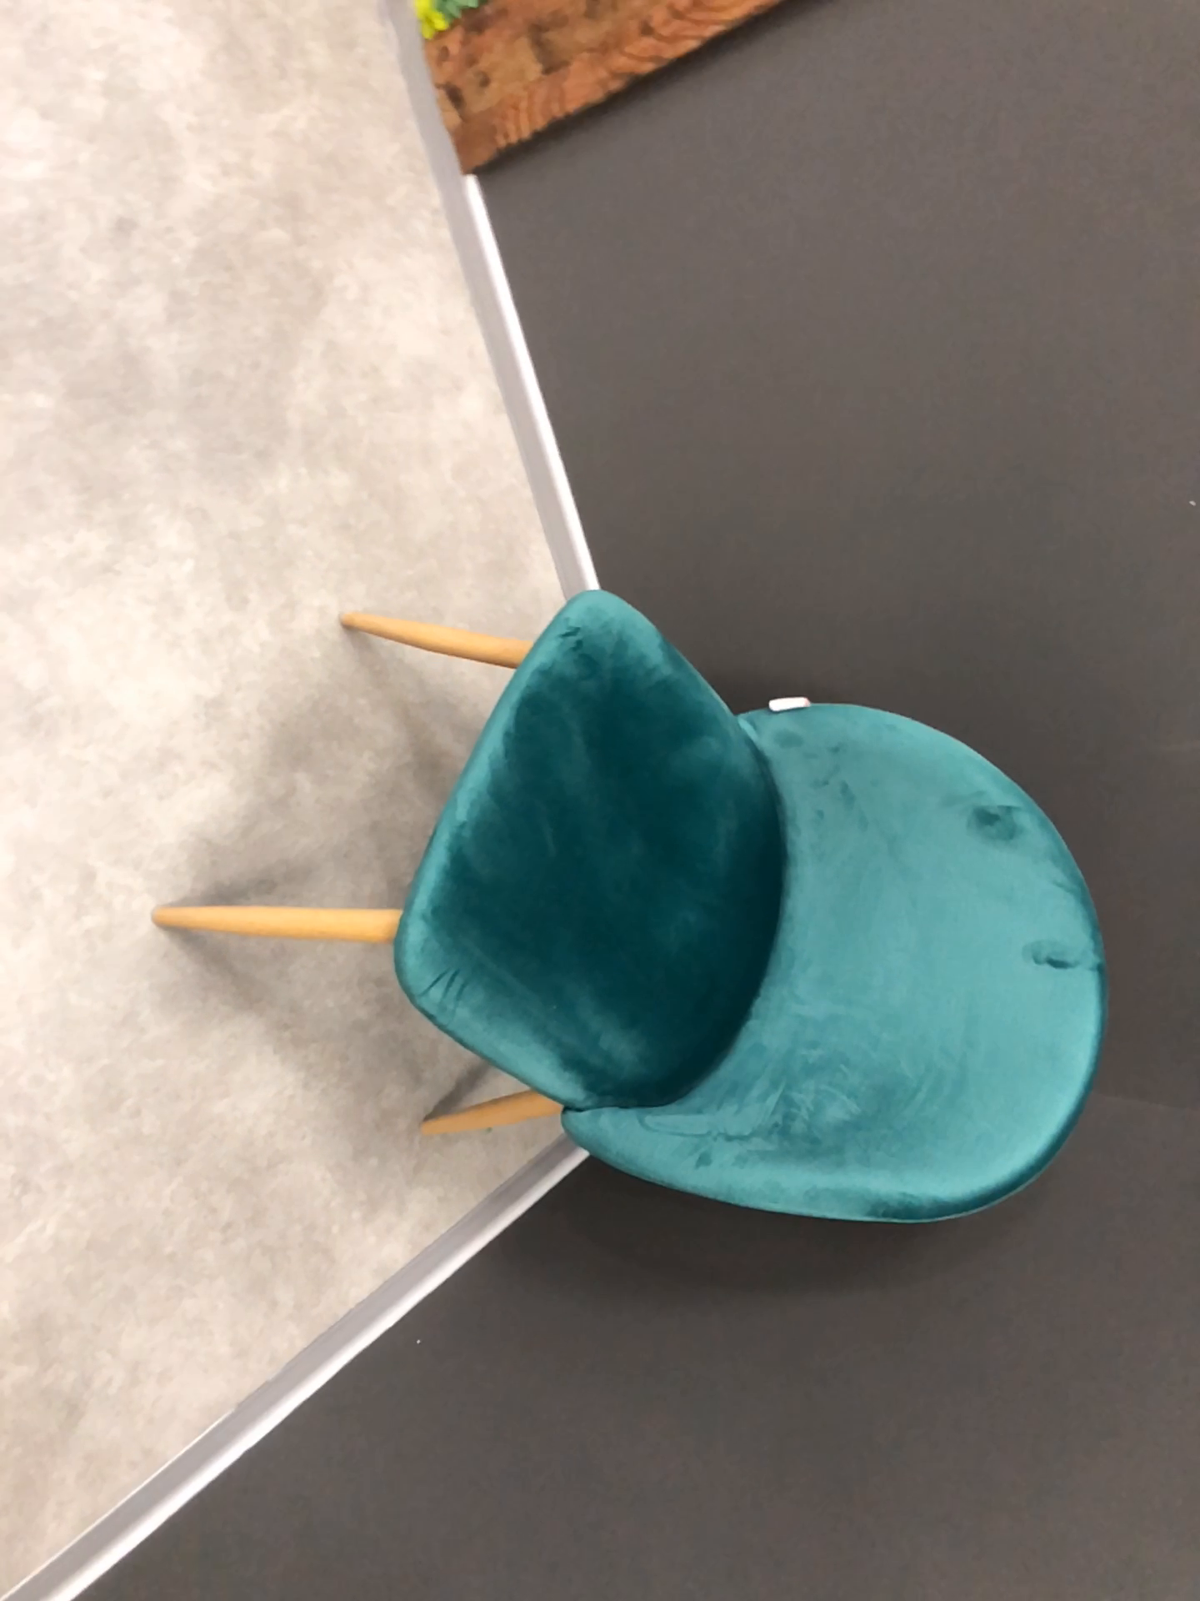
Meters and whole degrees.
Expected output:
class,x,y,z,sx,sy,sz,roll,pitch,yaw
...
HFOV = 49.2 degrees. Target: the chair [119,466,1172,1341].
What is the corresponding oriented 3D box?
class,x,y,z,sx,sy,sz,roll,pitch,yaw
chair,0.028,0.100,1.419,0.542,0.855,0.541,42,63,-35
